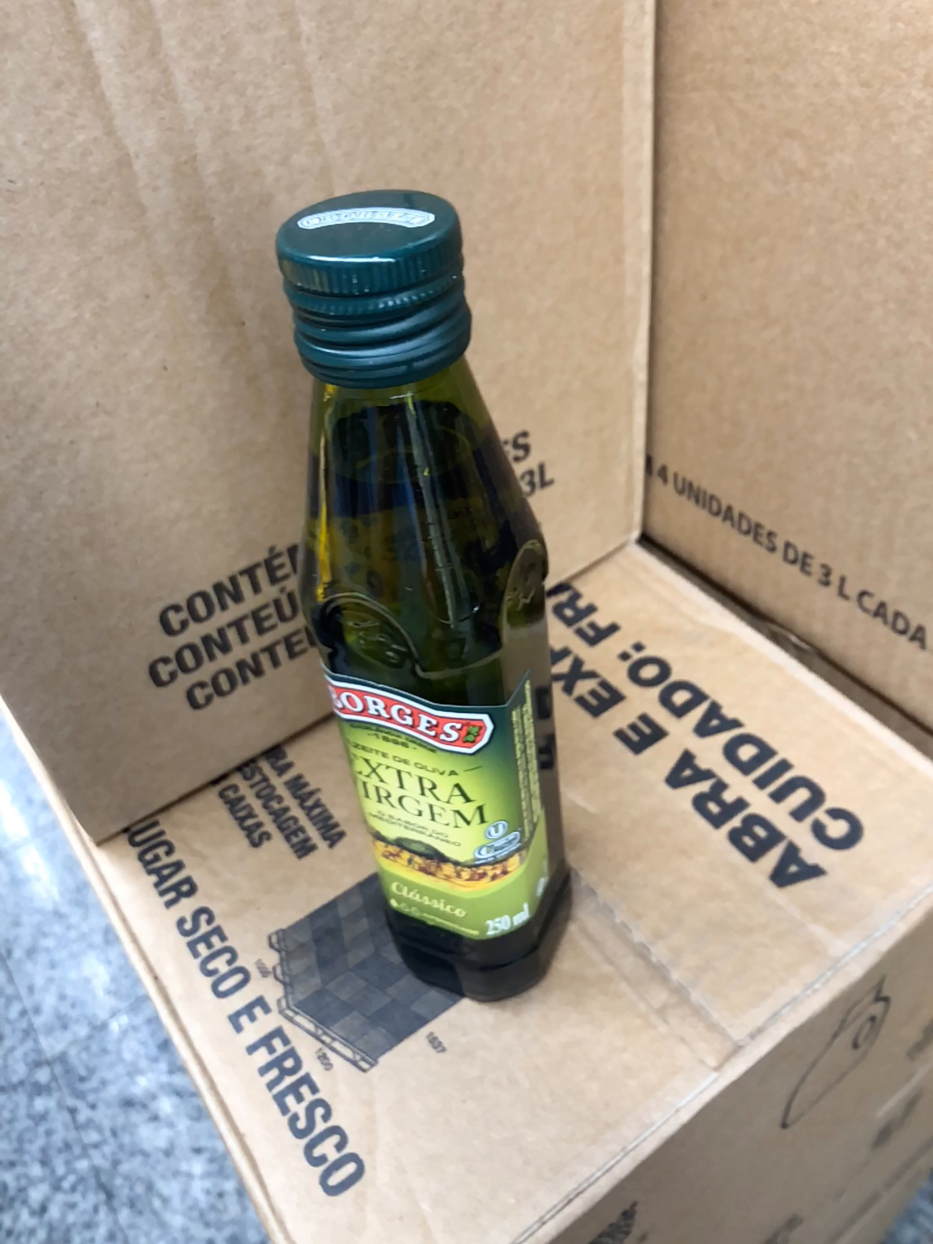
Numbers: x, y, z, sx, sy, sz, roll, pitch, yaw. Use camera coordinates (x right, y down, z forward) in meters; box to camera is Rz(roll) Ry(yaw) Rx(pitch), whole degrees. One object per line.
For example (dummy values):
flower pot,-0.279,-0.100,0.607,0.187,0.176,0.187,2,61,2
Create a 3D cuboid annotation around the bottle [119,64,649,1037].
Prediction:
bottle,-0.001,0.006,0.232,0.060,0.218,0.060,-3,44,3
